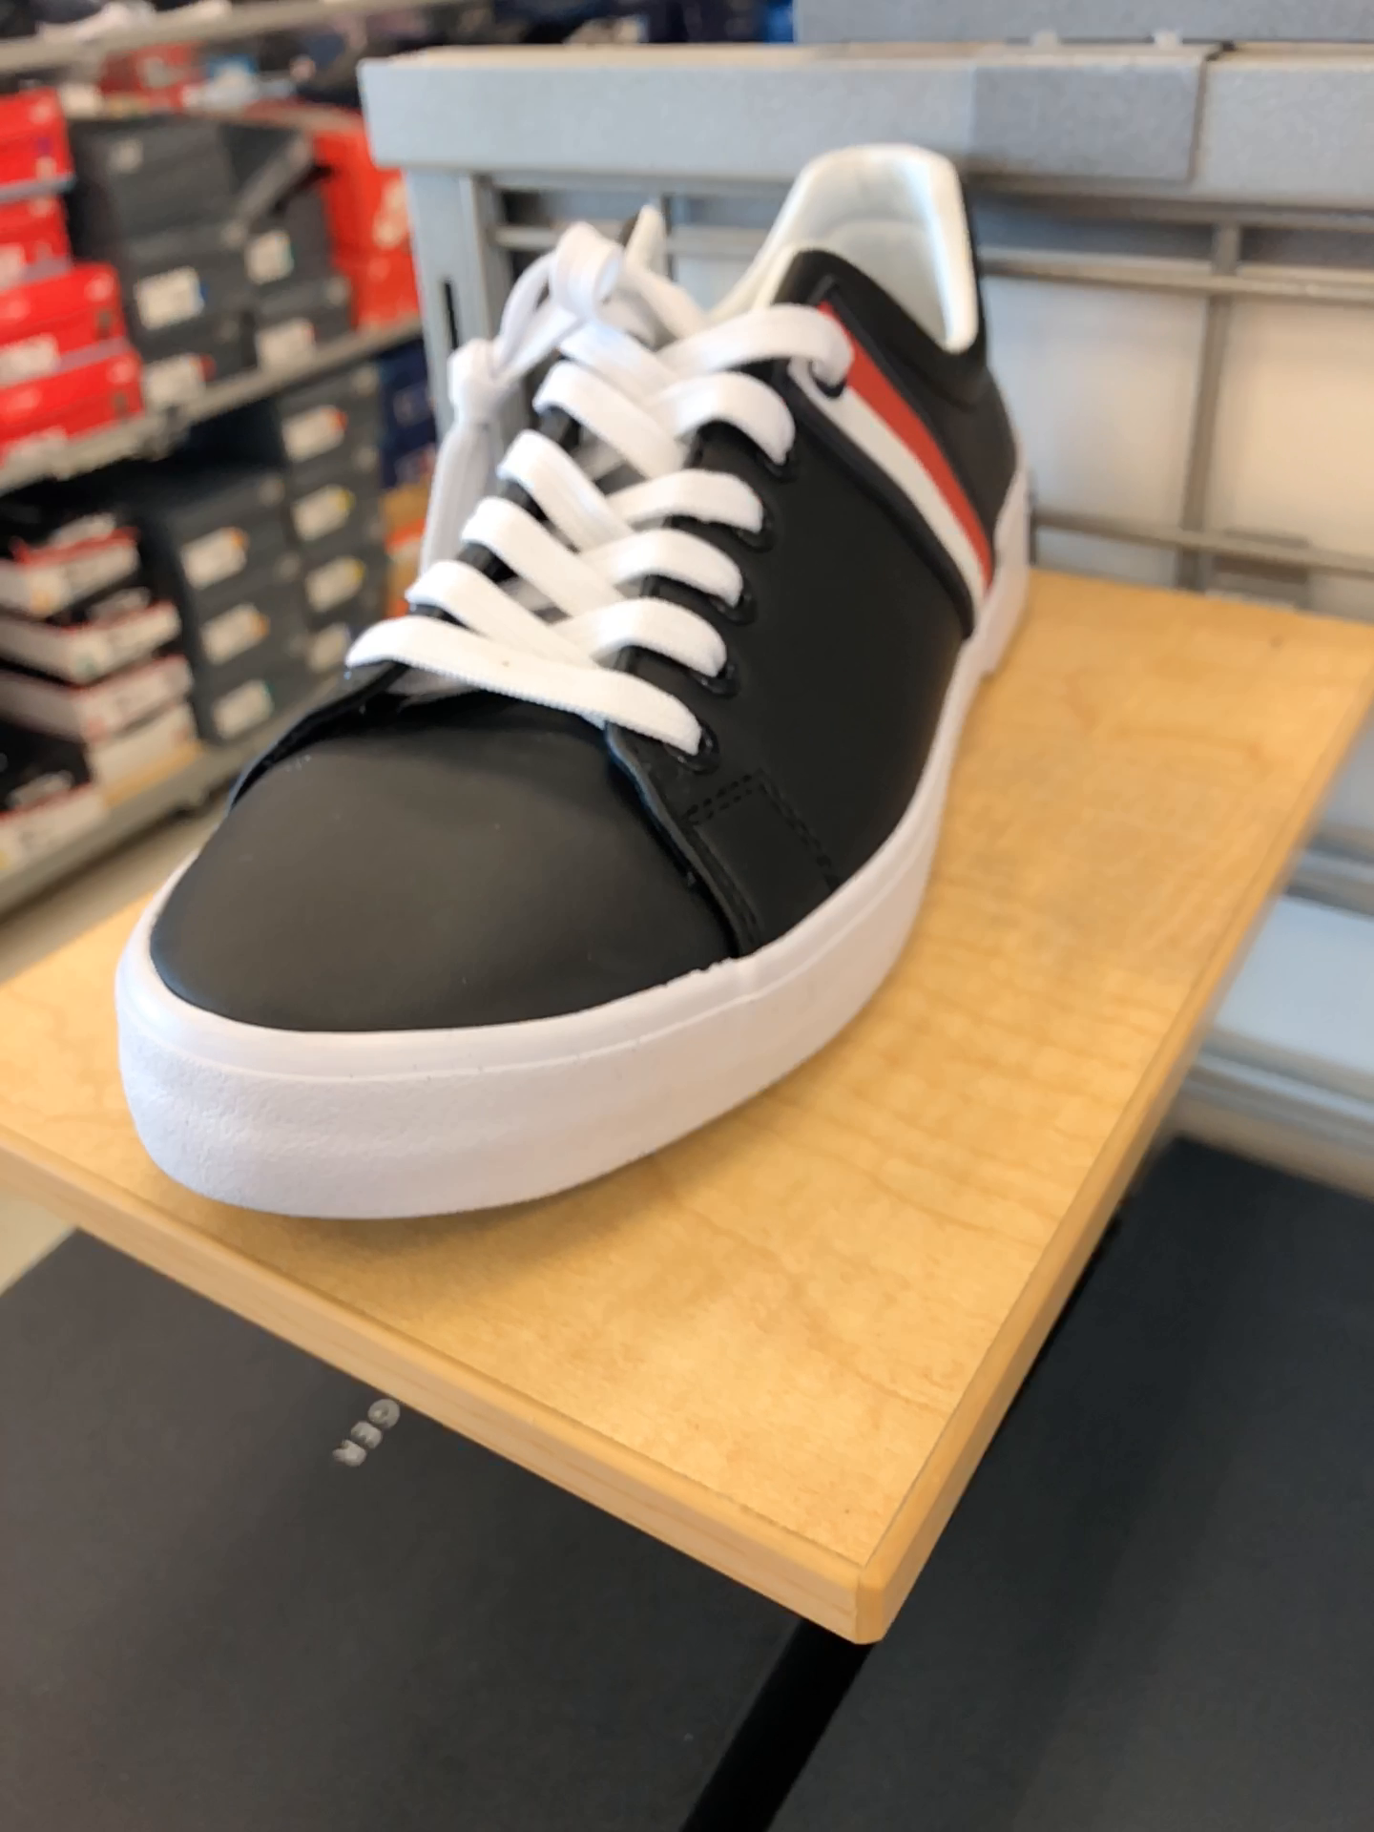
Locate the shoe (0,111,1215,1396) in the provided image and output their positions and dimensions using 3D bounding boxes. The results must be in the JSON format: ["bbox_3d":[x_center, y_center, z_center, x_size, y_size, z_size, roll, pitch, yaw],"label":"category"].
[{"bbox_3d":[0.011,-0.071,0.271,0.100,0.089,0.292,12,36,21],"label":"shoe"}]
